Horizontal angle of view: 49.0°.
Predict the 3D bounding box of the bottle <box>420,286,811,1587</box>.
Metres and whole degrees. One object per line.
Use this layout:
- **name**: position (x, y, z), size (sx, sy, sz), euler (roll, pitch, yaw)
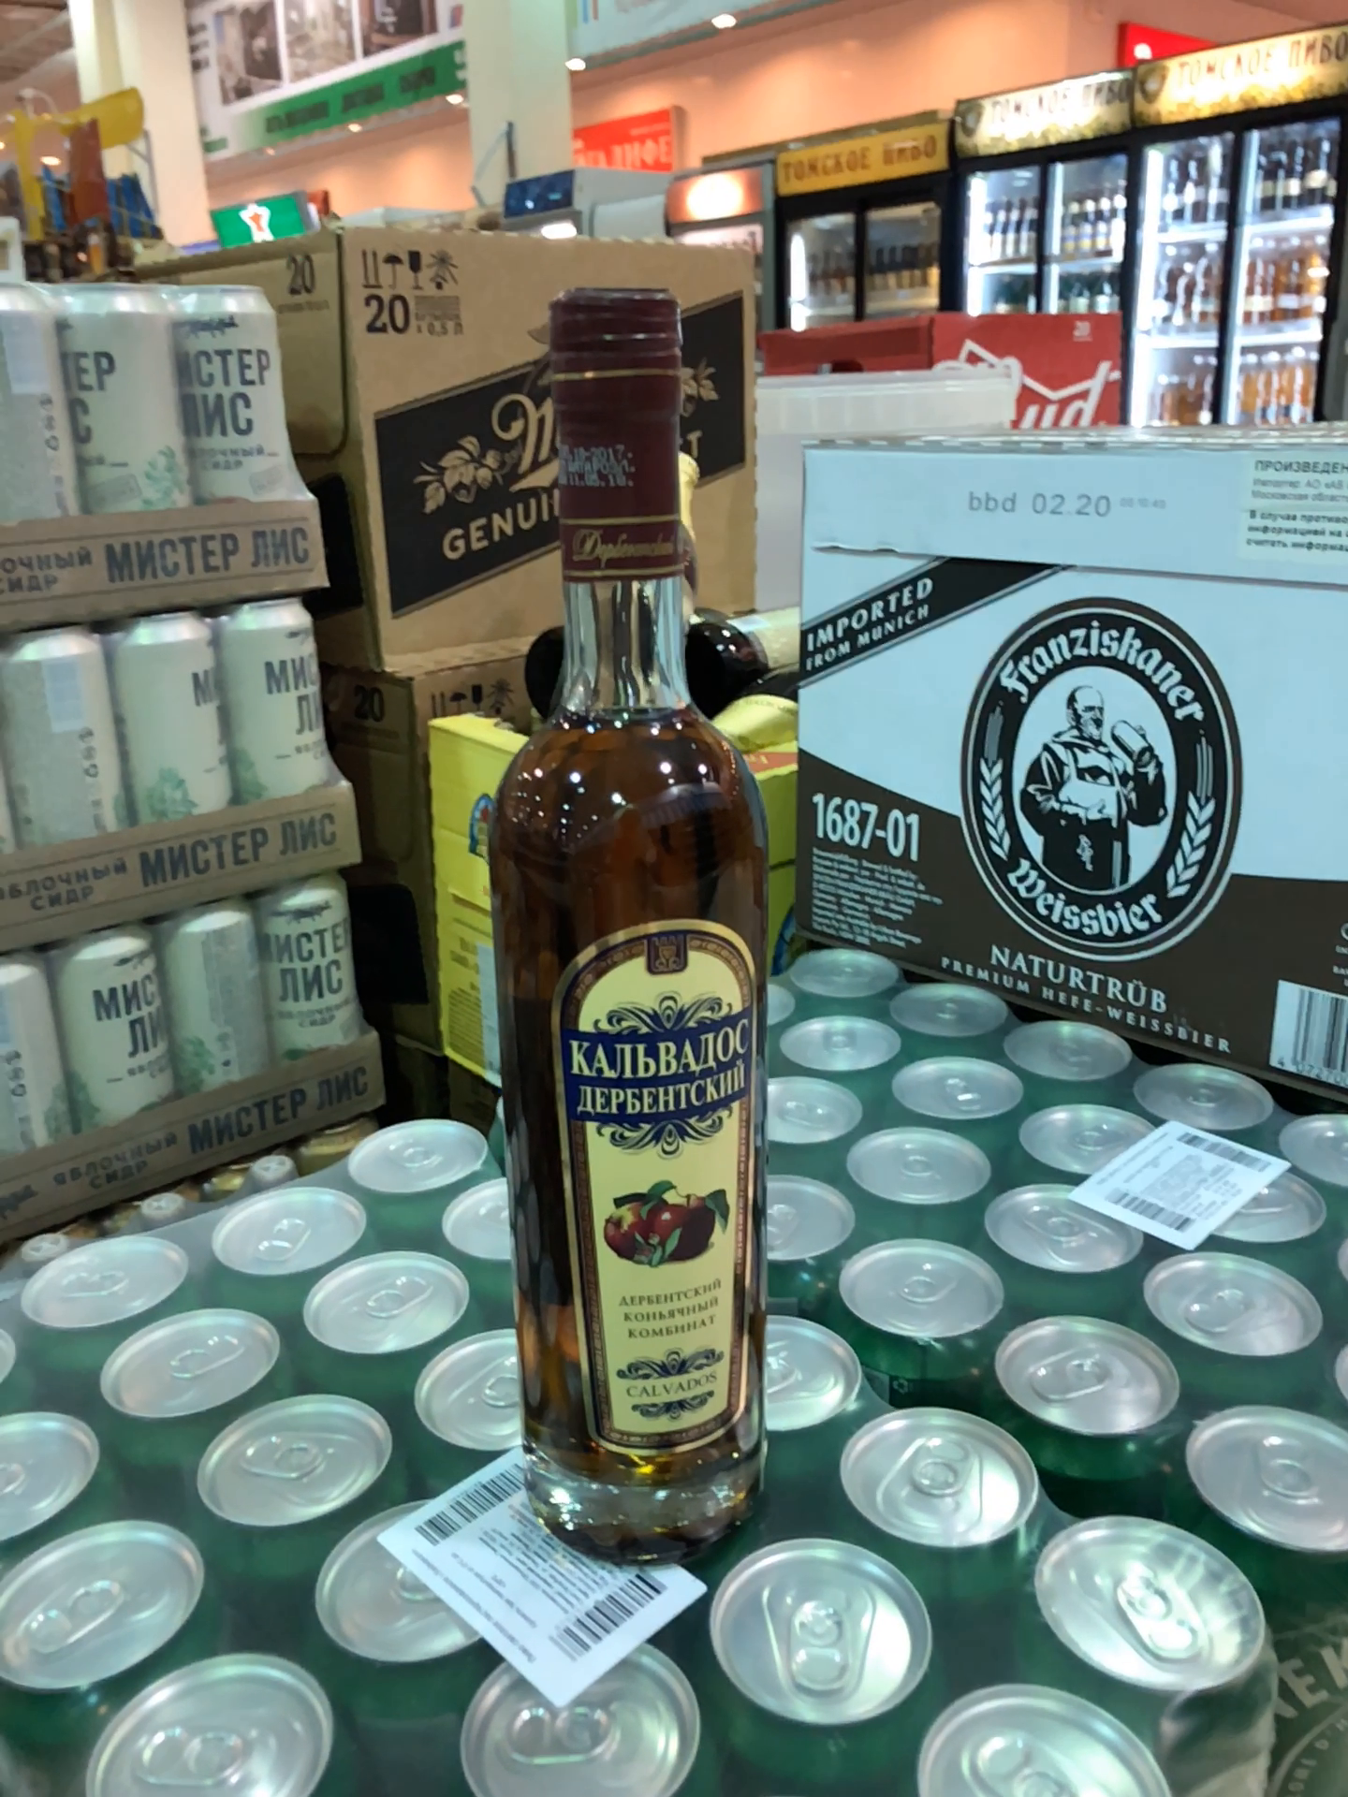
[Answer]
- **bottle**: position (-0.011, 0.014, 0.361), size (0.070, 0.298, 0.070), euler (-2, 18, 1)
